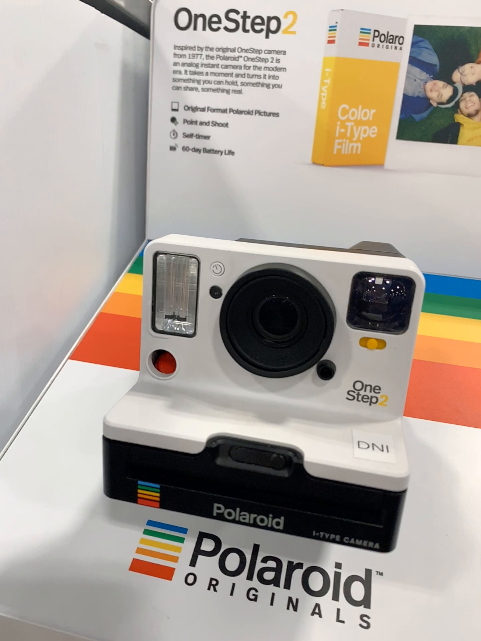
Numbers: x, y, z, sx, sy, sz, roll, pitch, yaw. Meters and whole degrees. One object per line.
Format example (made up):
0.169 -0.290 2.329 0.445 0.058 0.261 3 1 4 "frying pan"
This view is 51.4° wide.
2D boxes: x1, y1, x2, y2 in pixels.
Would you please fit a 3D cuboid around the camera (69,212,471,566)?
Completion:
0.015 0.009 0.229 0.120 0.090 0.145 8 18 9 "camera"
